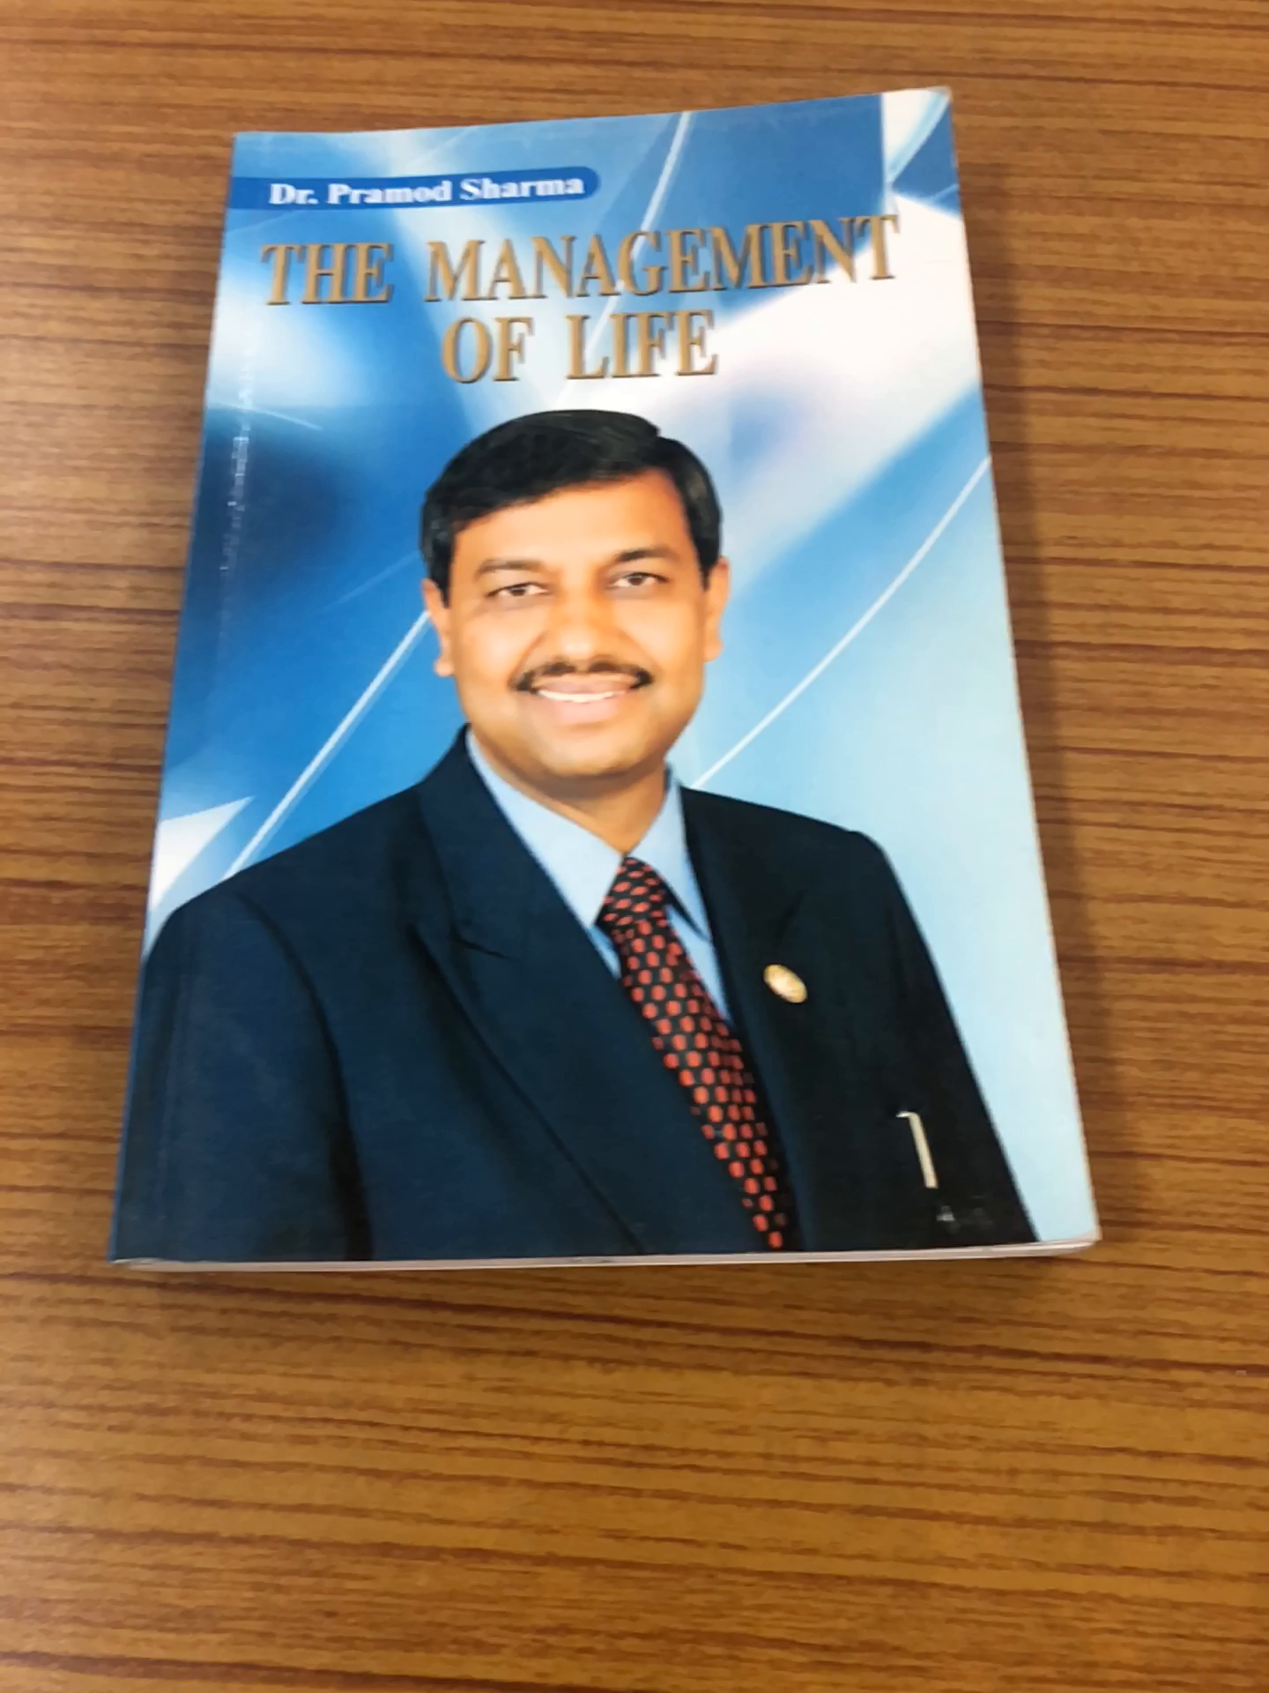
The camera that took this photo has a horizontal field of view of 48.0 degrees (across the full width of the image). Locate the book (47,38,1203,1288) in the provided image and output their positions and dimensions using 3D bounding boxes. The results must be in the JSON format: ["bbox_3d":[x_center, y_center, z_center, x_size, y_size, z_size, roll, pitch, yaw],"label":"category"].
[{"bbox_3d":[-0.004,-0.040,0.232,0.150,0.020,0.210,-2,69,3],"label":"book"}]
